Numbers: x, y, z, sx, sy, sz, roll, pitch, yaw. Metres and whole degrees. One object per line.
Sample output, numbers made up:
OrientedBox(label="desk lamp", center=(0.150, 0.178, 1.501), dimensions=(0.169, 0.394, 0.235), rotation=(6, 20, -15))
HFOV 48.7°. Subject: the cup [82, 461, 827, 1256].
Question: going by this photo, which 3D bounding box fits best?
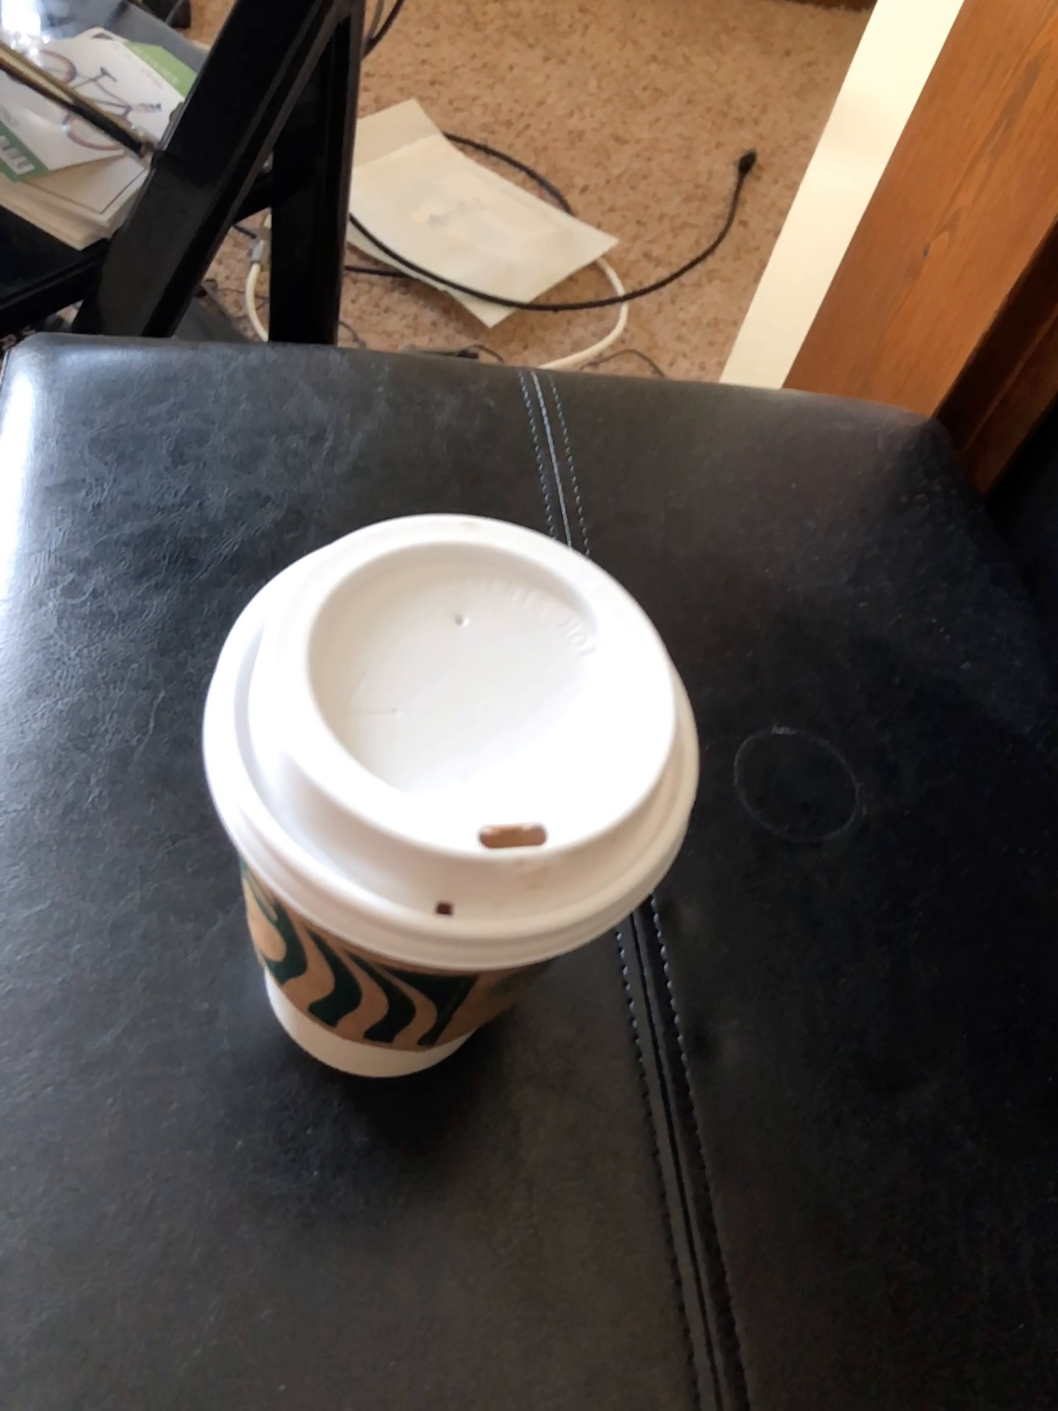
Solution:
OrientedBox(label="cup", center=(-0.024, 0.034, 0.235), dimensions=(0.090, 0.120, 0.090), rotation=(6, 55, -9))
